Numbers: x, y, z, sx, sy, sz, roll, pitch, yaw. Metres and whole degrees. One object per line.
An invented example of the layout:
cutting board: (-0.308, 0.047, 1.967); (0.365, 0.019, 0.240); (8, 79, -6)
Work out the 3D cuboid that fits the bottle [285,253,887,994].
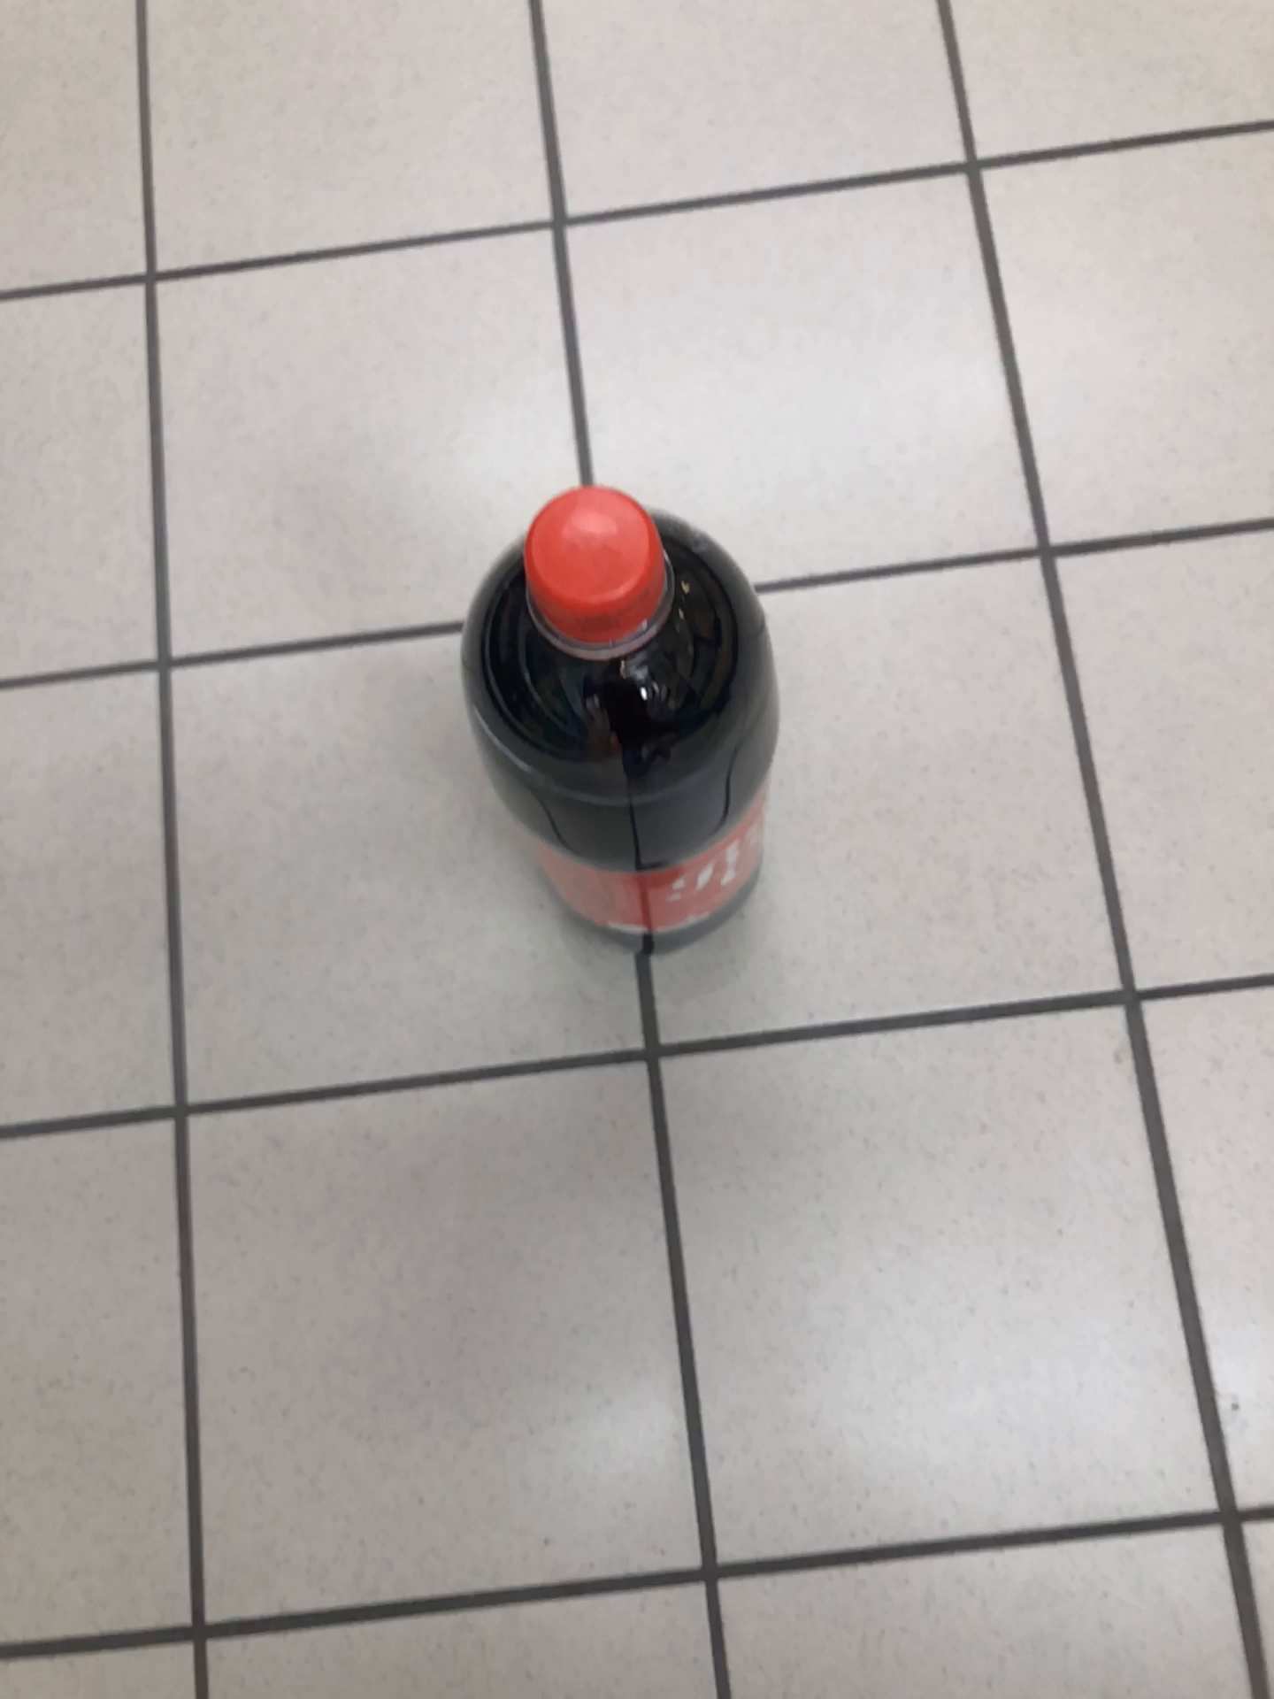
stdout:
bottle: (-0.002, -0.038, 0.458); (0.100, 0.310, 0.100); (-1, 77, 3)
